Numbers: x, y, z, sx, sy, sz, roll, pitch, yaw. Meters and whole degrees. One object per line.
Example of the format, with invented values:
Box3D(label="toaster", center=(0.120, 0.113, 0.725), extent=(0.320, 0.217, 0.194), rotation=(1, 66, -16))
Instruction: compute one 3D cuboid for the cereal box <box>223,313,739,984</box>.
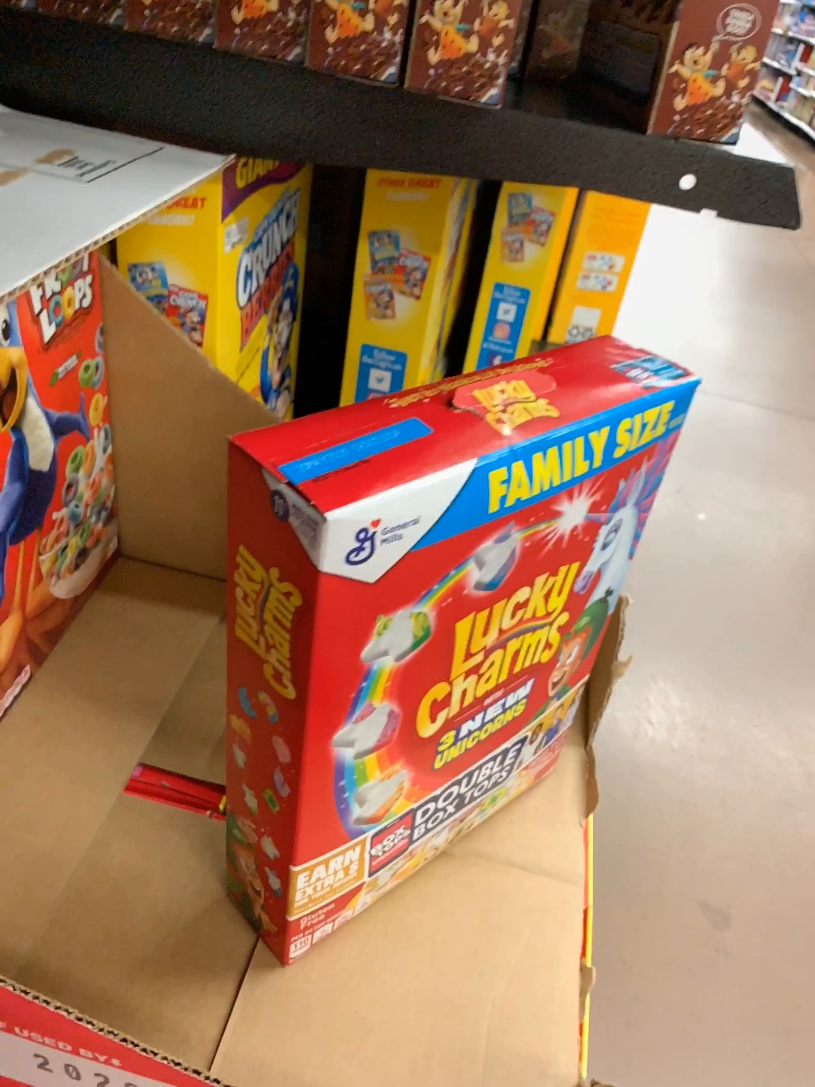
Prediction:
Box3D(label="cereal box", center=(0.026, 0.053, 0.417), extent=(0.231, 0.288, 0.060), rotation=(-23, 48, -36))
